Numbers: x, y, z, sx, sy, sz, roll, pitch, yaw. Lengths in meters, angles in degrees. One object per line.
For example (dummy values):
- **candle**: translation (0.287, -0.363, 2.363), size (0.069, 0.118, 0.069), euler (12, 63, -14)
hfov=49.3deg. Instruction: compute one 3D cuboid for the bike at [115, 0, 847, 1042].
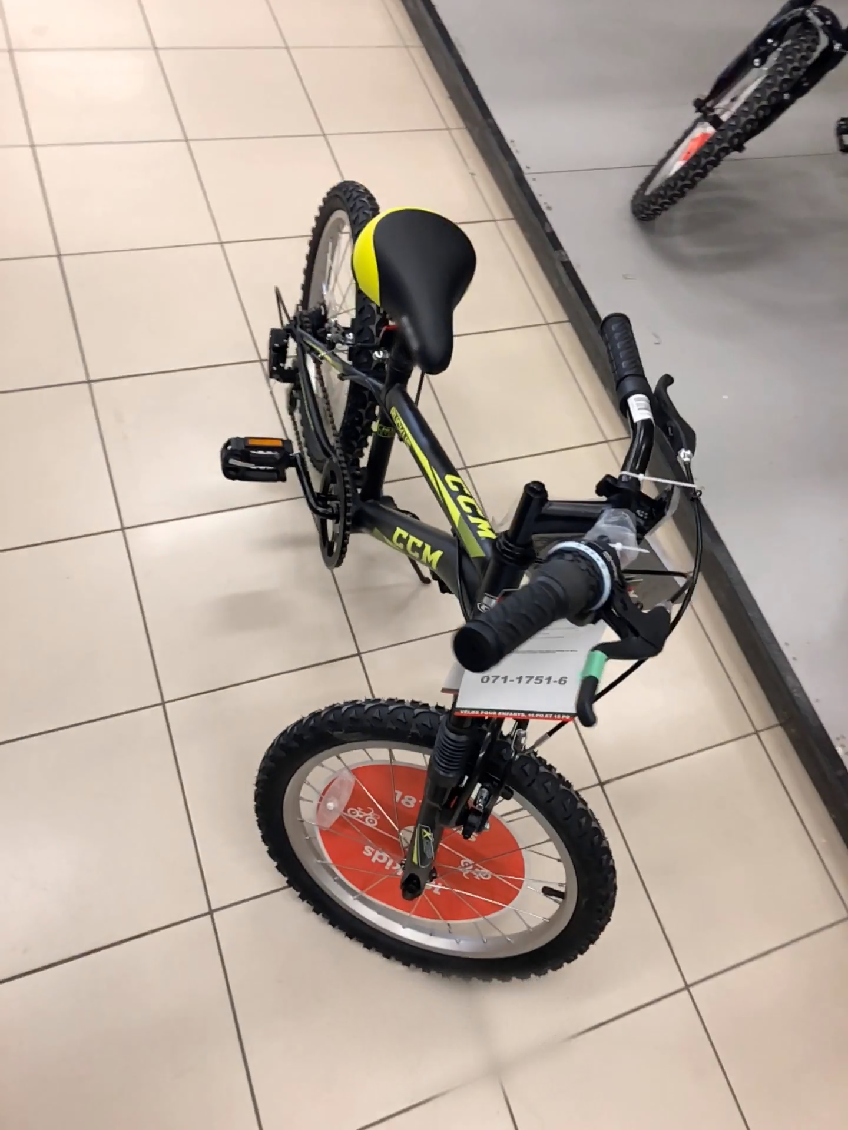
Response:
- **bike**: translation (0.033, -0.150, 1.154), size (0.550, 0.862, 1.196), euler (-10, 64, -19)
